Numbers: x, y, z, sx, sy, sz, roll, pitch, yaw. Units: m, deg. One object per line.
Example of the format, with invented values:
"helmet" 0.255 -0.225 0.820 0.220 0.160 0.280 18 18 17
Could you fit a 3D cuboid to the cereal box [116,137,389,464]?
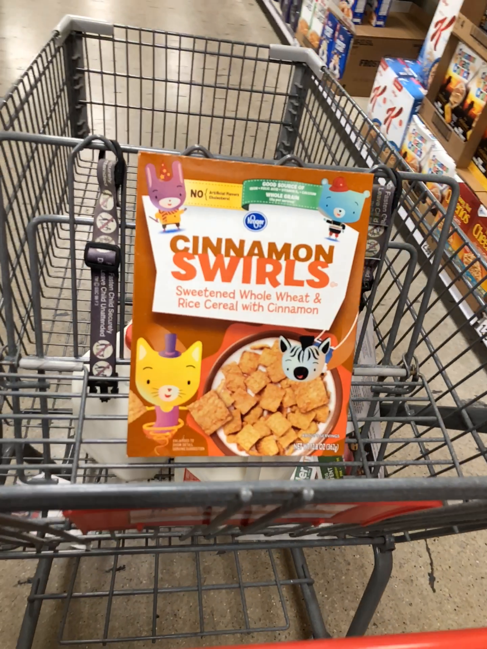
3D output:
"cereal box" 0.003 -0.012 0.463 0.210 0.260 0.050 3 9 -10
